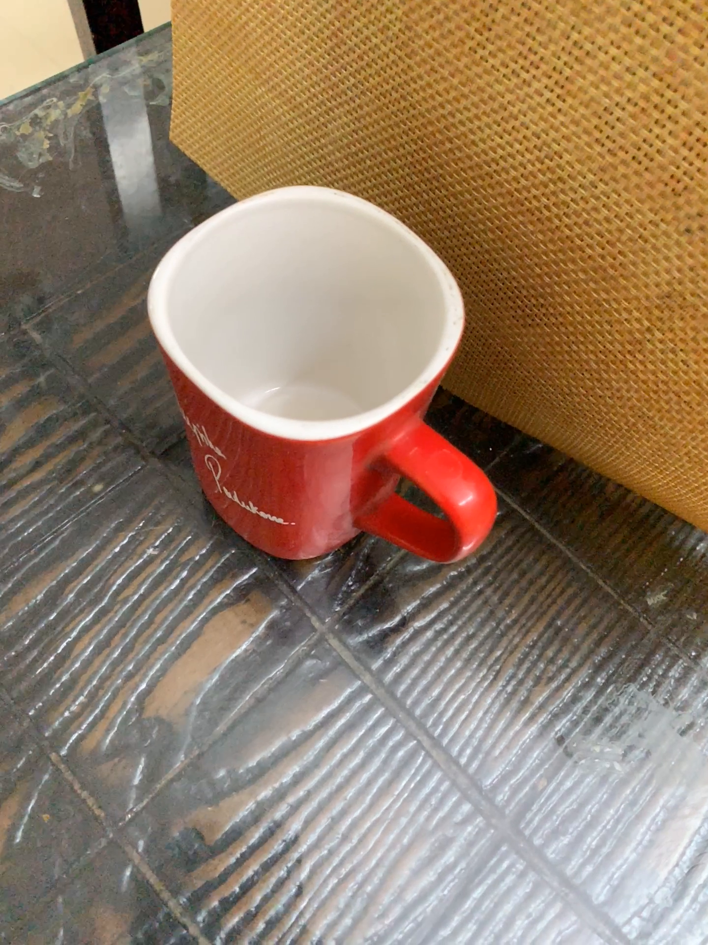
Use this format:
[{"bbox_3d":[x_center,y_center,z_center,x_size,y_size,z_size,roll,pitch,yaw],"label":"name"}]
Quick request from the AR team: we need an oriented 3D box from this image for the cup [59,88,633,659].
[{"bbox_3d":[-0.005,-0.020,0.188,0.096,0.085,0.070,40,66,14],"label":"cup"}]
